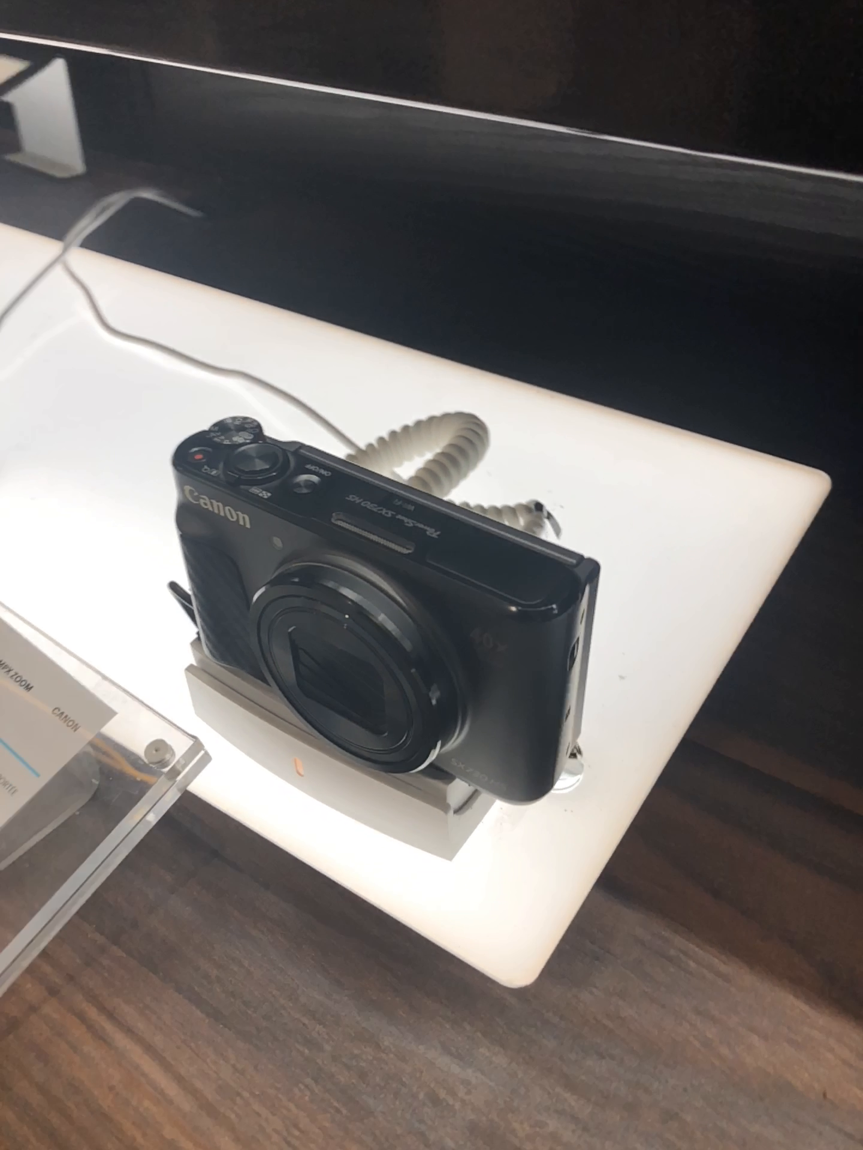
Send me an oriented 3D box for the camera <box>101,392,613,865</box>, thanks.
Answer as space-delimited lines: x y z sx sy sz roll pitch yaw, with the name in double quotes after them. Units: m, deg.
-0.020 0.009 0.231 0.115 0.069 0.034 23 45 27 "camera"
